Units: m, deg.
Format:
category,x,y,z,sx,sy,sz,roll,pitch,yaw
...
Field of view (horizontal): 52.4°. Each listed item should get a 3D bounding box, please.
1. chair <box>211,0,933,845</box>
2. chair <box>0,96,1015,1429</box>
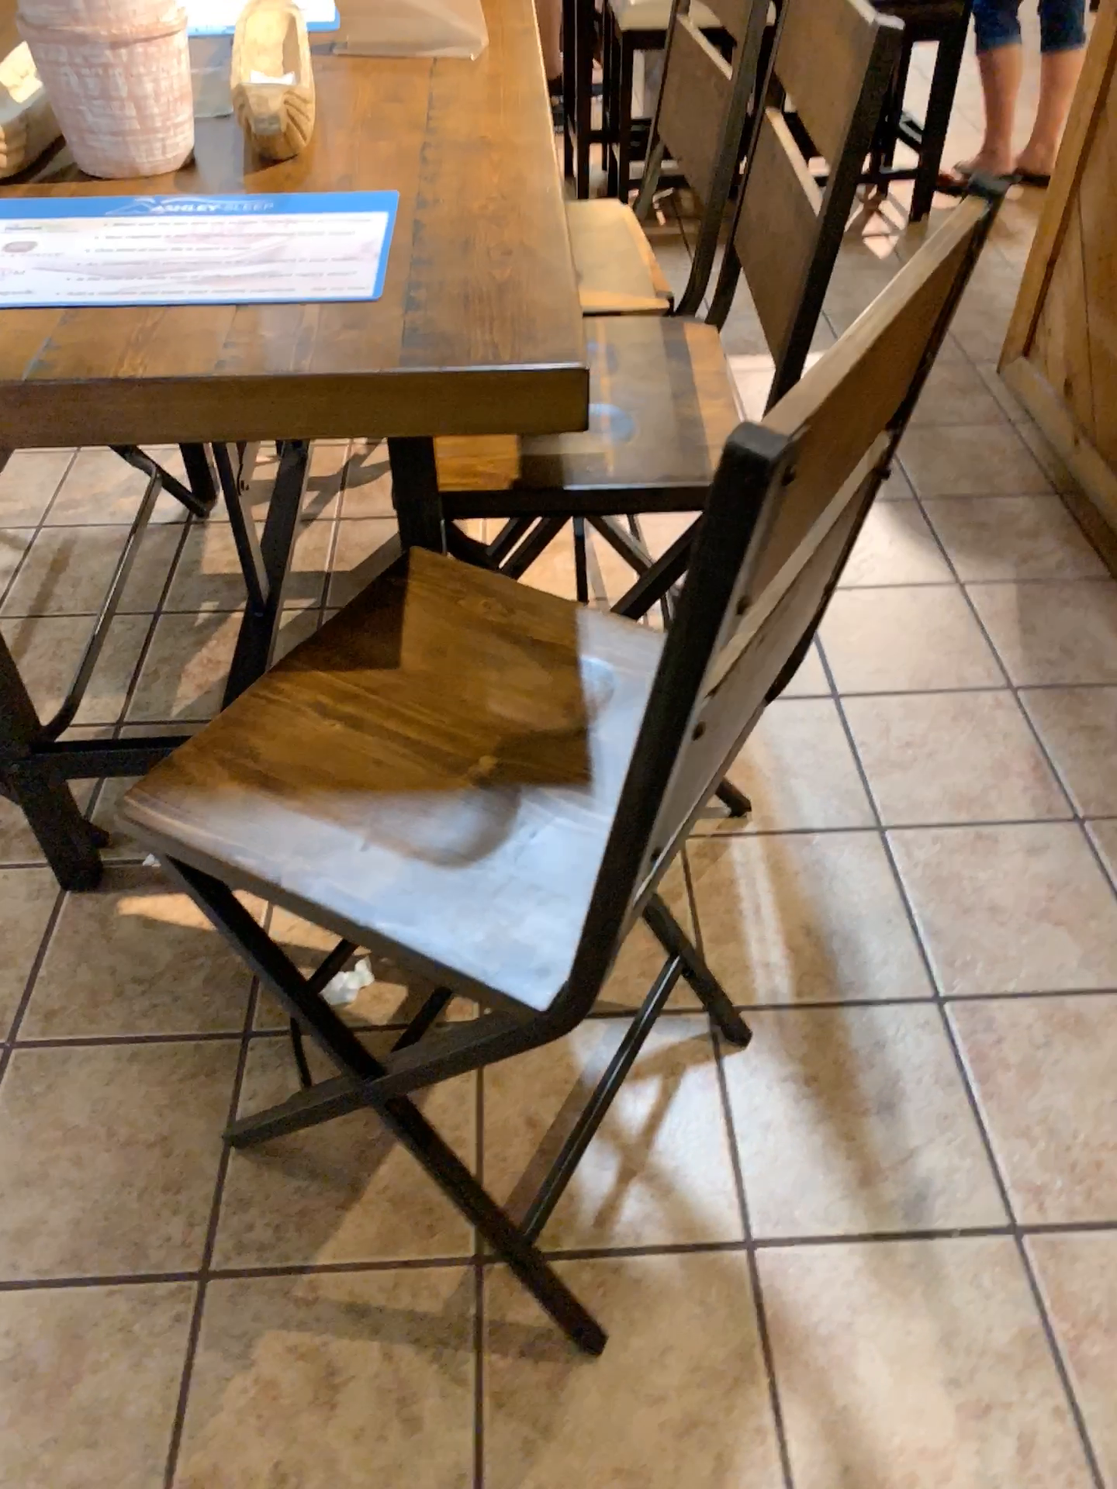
category,x,y,z,sx,sy,sz,roll,pitch,yaw
chair,0.025,-0.402,1.491,0.615,1.003,0.495,-4,44,0
chair,-0.074,0.047,1.012,0.616,0.983,0.444,20,45,24
